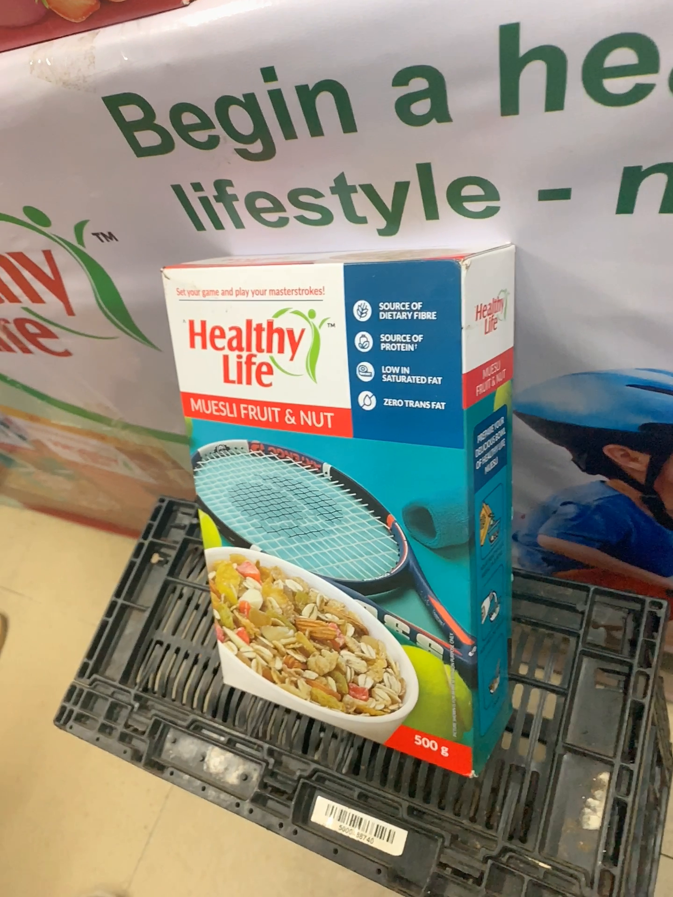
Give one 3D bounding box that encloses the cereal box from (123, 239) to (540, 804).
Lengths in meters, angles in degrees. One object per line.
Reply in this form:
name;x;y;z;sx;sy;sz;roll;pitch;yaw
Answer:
cereal box;0.000;0.027;0.366;0.191;0.250;0.070;7;21;33
